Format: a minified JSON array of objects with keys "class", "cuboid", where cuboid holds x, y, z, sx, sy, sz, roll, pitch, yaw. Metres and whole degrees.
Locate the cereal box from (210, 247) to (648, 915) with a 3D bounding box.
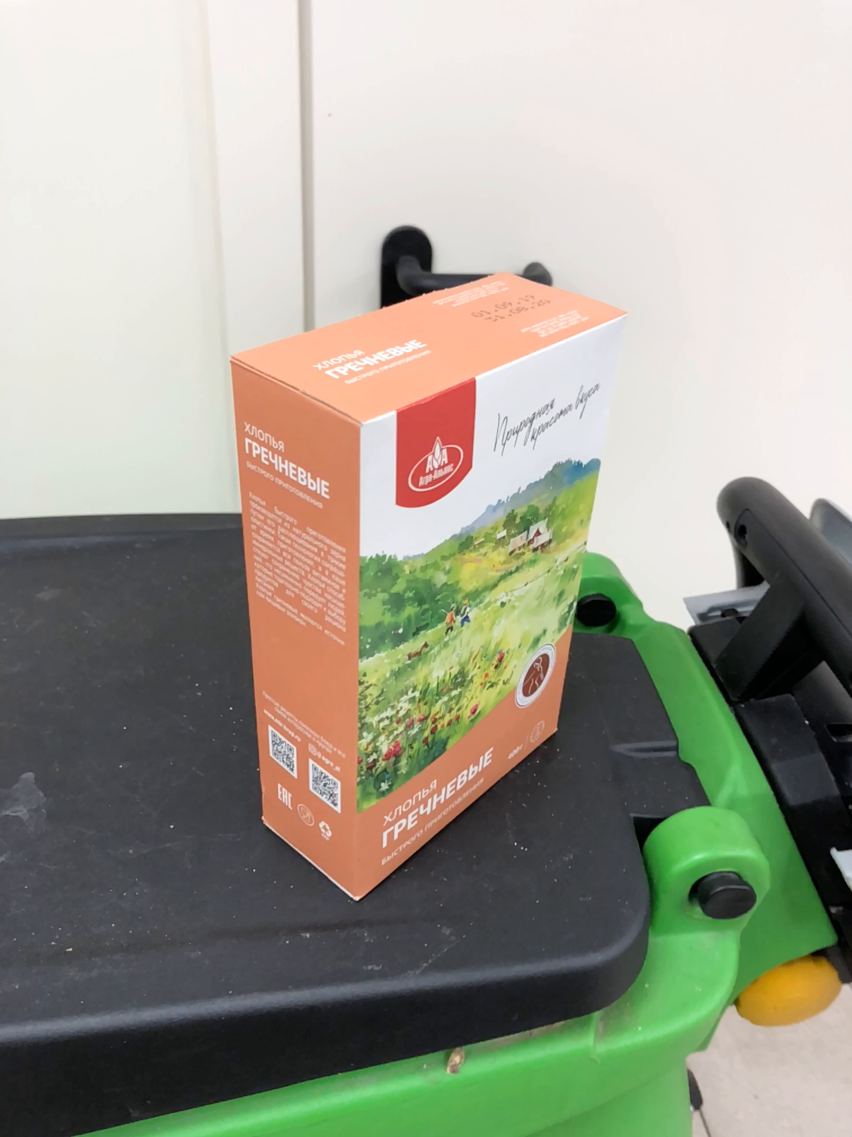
[{"class":"cereal box","cuboid":[0.000,0.004,0.354,0.060,0.209,0.141,29,41,32]}]
